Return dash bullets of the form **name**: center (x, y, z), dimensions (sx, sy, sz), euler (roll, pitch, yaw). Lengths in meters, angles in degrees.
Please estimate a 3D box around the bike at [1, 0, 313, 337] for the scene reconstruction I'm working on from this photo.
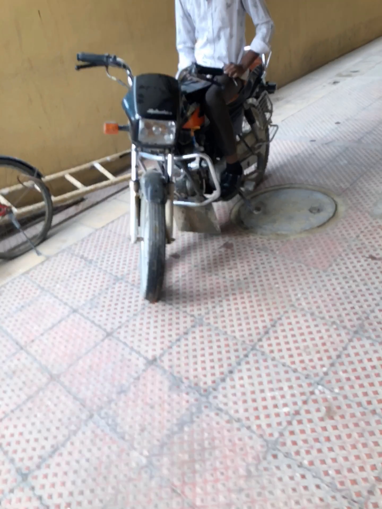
- **bike**: center (0.063, -0.588, 2.164), dimensions (0.759, 0.974, 1.607), euler (8, 40, 27)
